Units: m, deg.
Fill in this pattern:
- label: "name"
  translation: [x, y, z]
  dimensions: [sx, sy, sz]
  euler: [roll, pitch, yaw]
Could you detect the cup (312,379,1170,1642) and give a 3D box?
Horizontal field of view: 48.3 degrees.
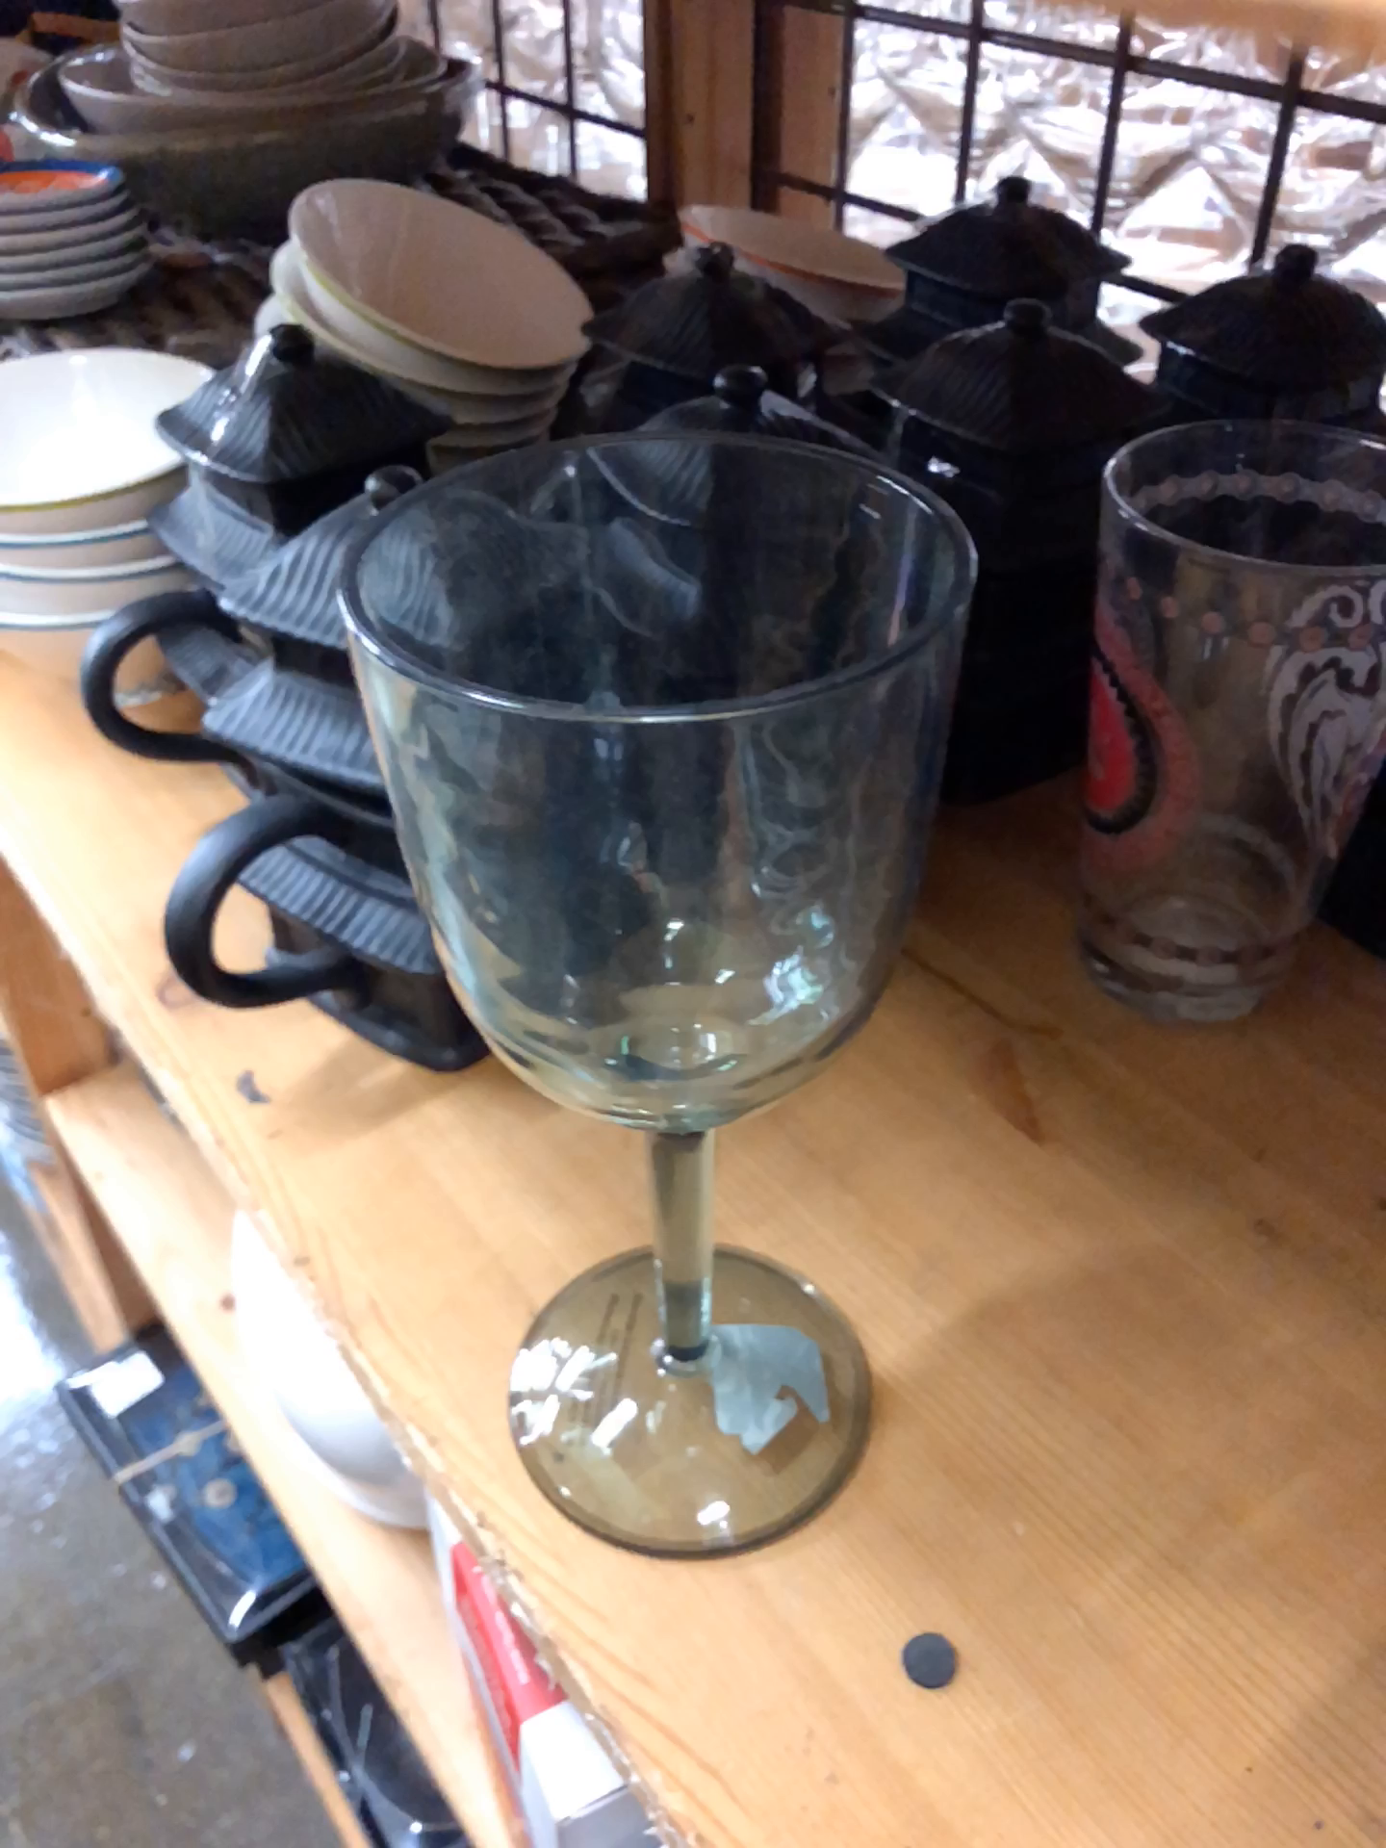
- label: "cup"
  translation: [0.004, 0.023, 0.287]
  dimensions: [0.094, 0.204, 0.092]
  euler: [-1, 39, 1]
